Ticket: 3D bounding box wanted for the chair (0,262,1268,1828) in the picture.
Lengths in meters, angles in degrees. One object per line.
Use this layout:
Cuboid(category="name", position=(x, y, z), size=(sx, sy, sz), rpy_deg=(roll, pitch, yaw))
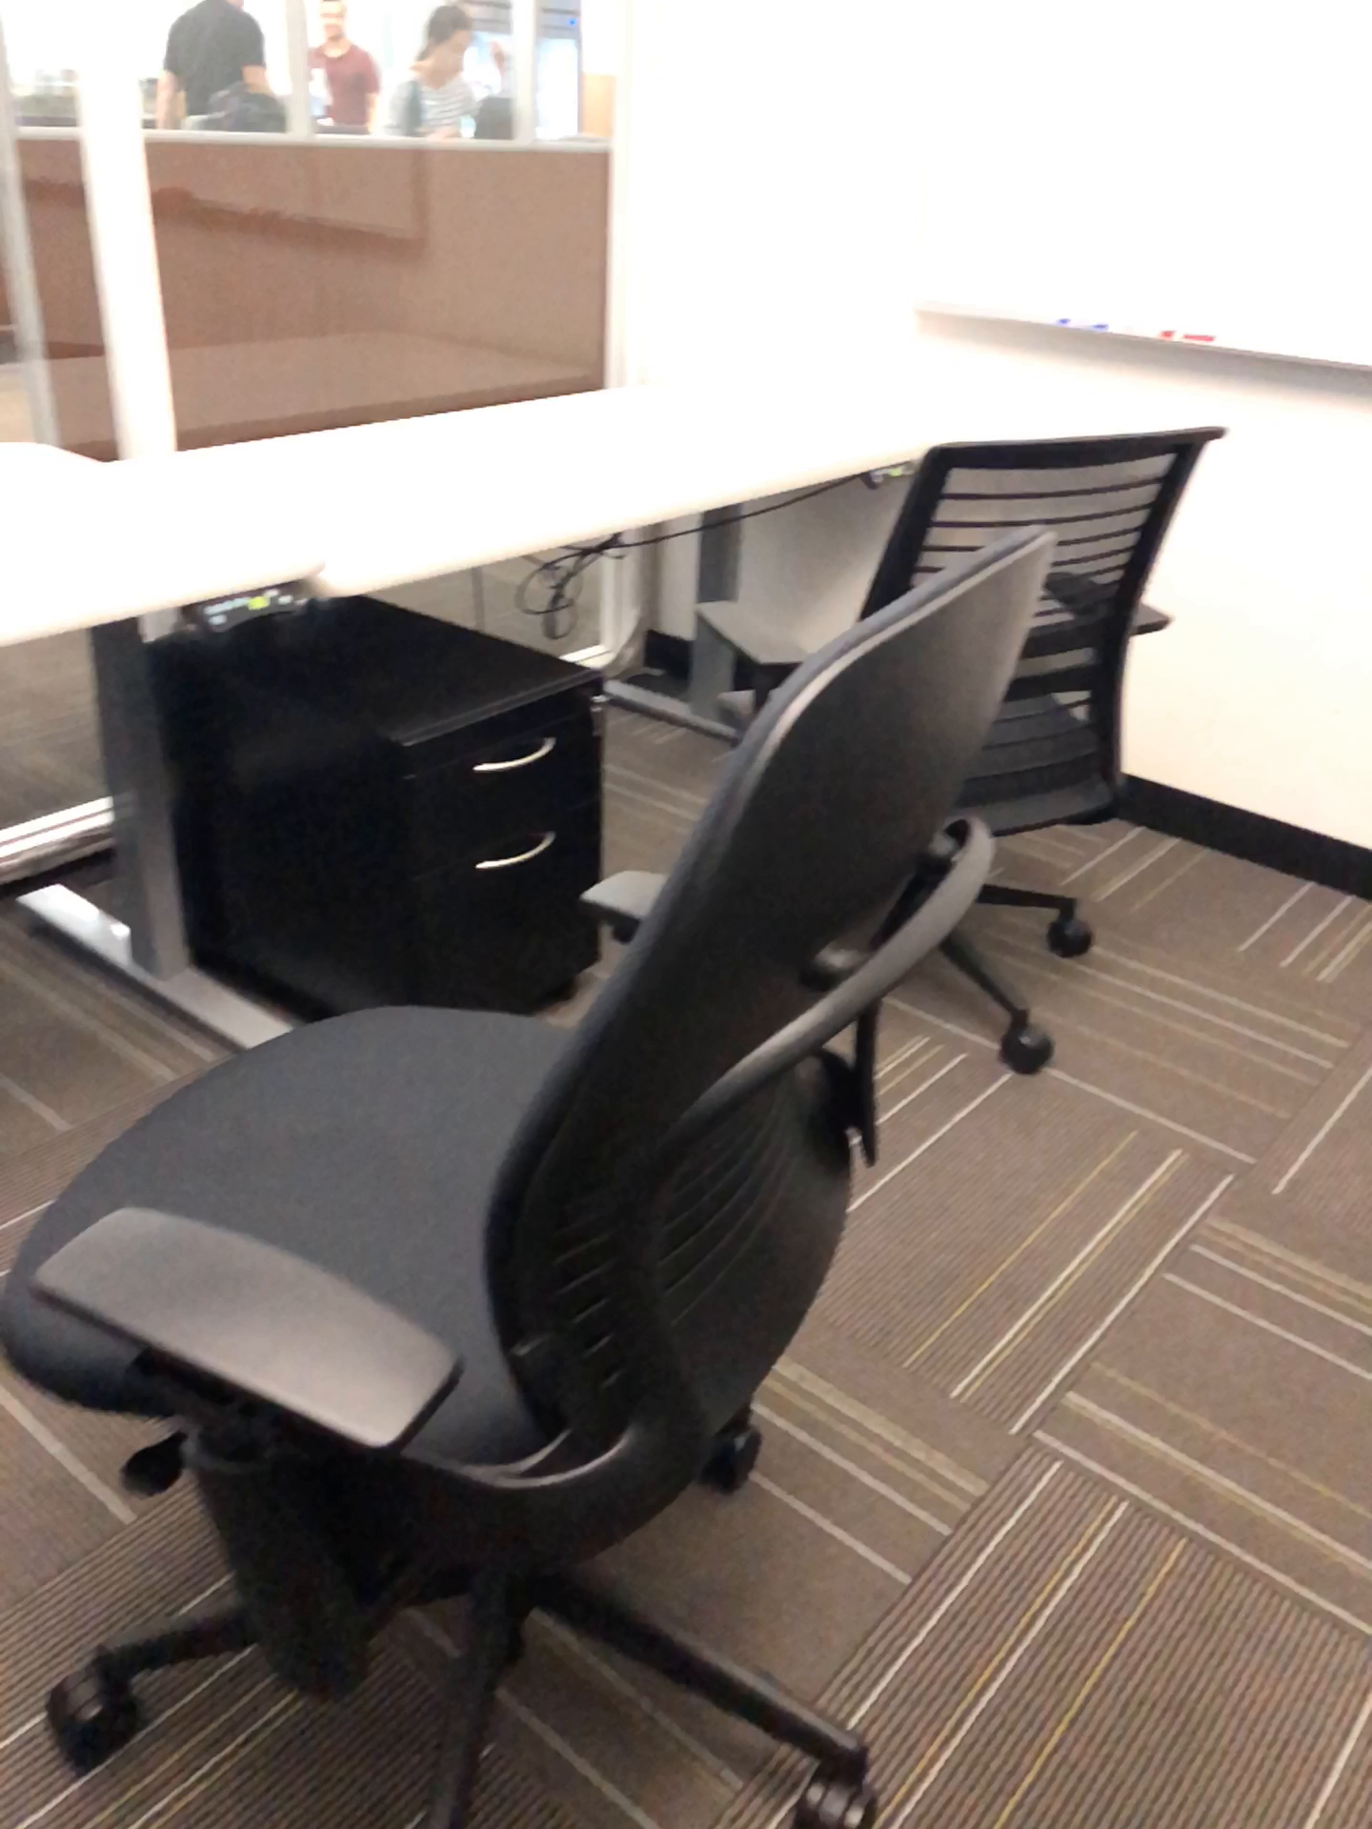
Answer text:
Cuboid(category="chair", position=(-0.178, 0.146, 1.084), size=(0.832, 1.035, 0.732), rpy_deg=(15, 30, 22))
